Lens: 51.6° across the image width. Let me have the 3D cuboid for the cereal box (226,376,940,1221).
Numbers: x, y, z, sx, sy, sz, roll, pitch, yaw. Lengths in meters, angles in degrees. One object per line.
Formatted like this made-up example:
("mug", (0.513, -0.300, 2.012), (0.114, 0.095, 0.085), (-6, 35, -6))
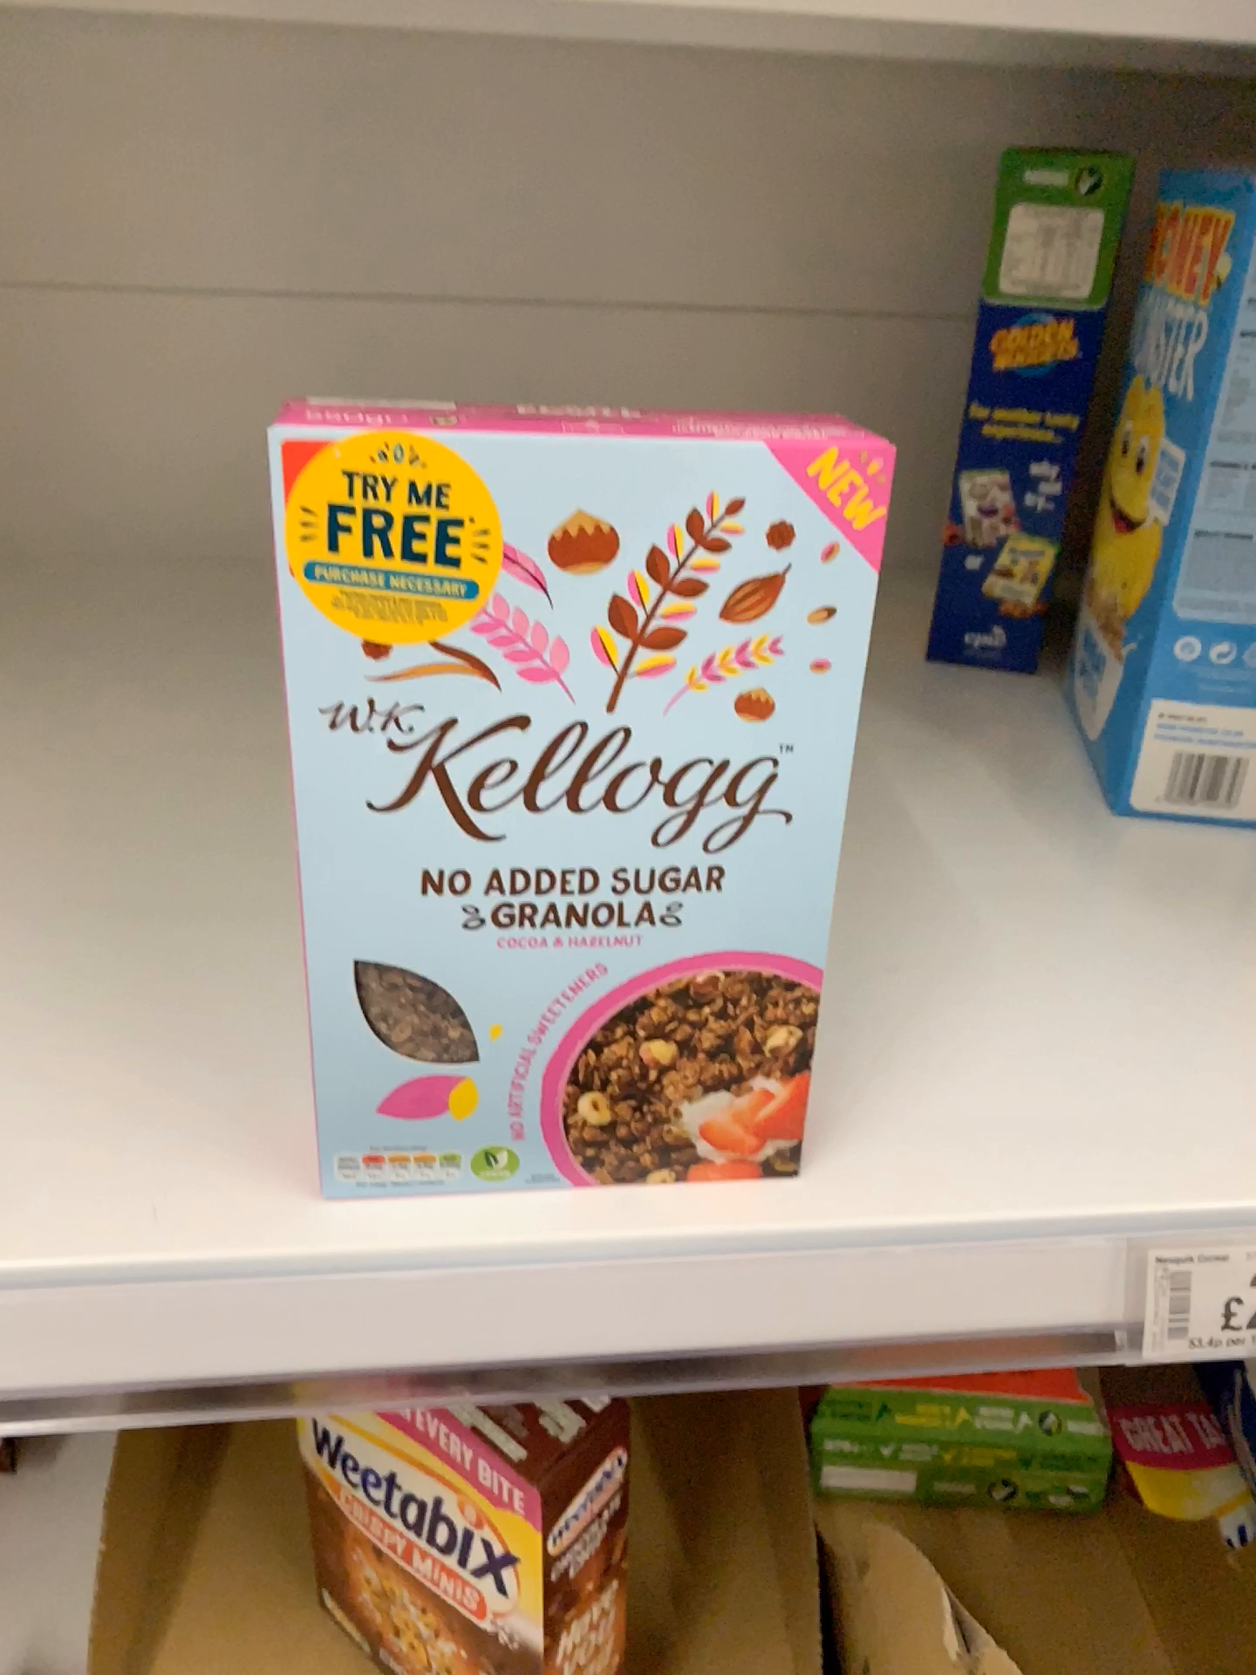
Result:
("cereal box", (-0.016, -0.001, 0.387), (0.170, 0.248, 0.050), (-1, 28, -7))
